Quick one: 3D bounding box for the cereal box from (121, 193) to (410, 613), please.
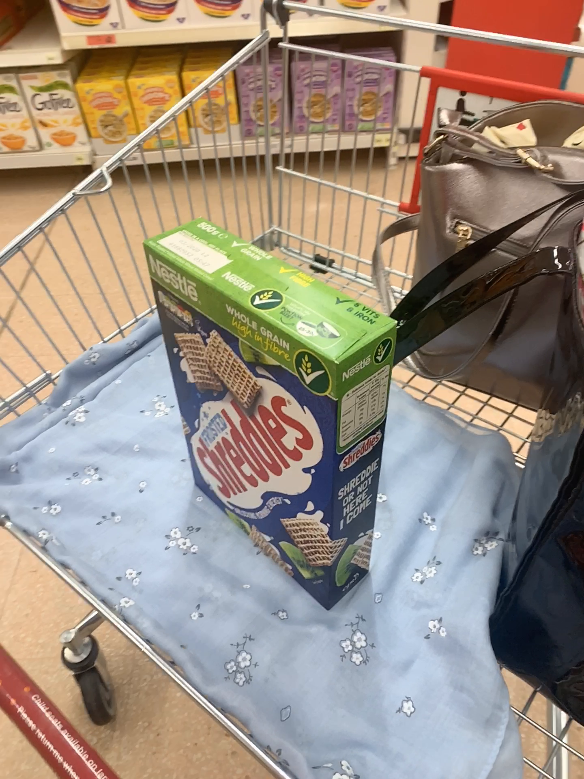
[{"bbox_3d":[-0.021,0.023,0.473,0.060,0.287,0.201,-35,53,-29],"label":"cereal box"}]
